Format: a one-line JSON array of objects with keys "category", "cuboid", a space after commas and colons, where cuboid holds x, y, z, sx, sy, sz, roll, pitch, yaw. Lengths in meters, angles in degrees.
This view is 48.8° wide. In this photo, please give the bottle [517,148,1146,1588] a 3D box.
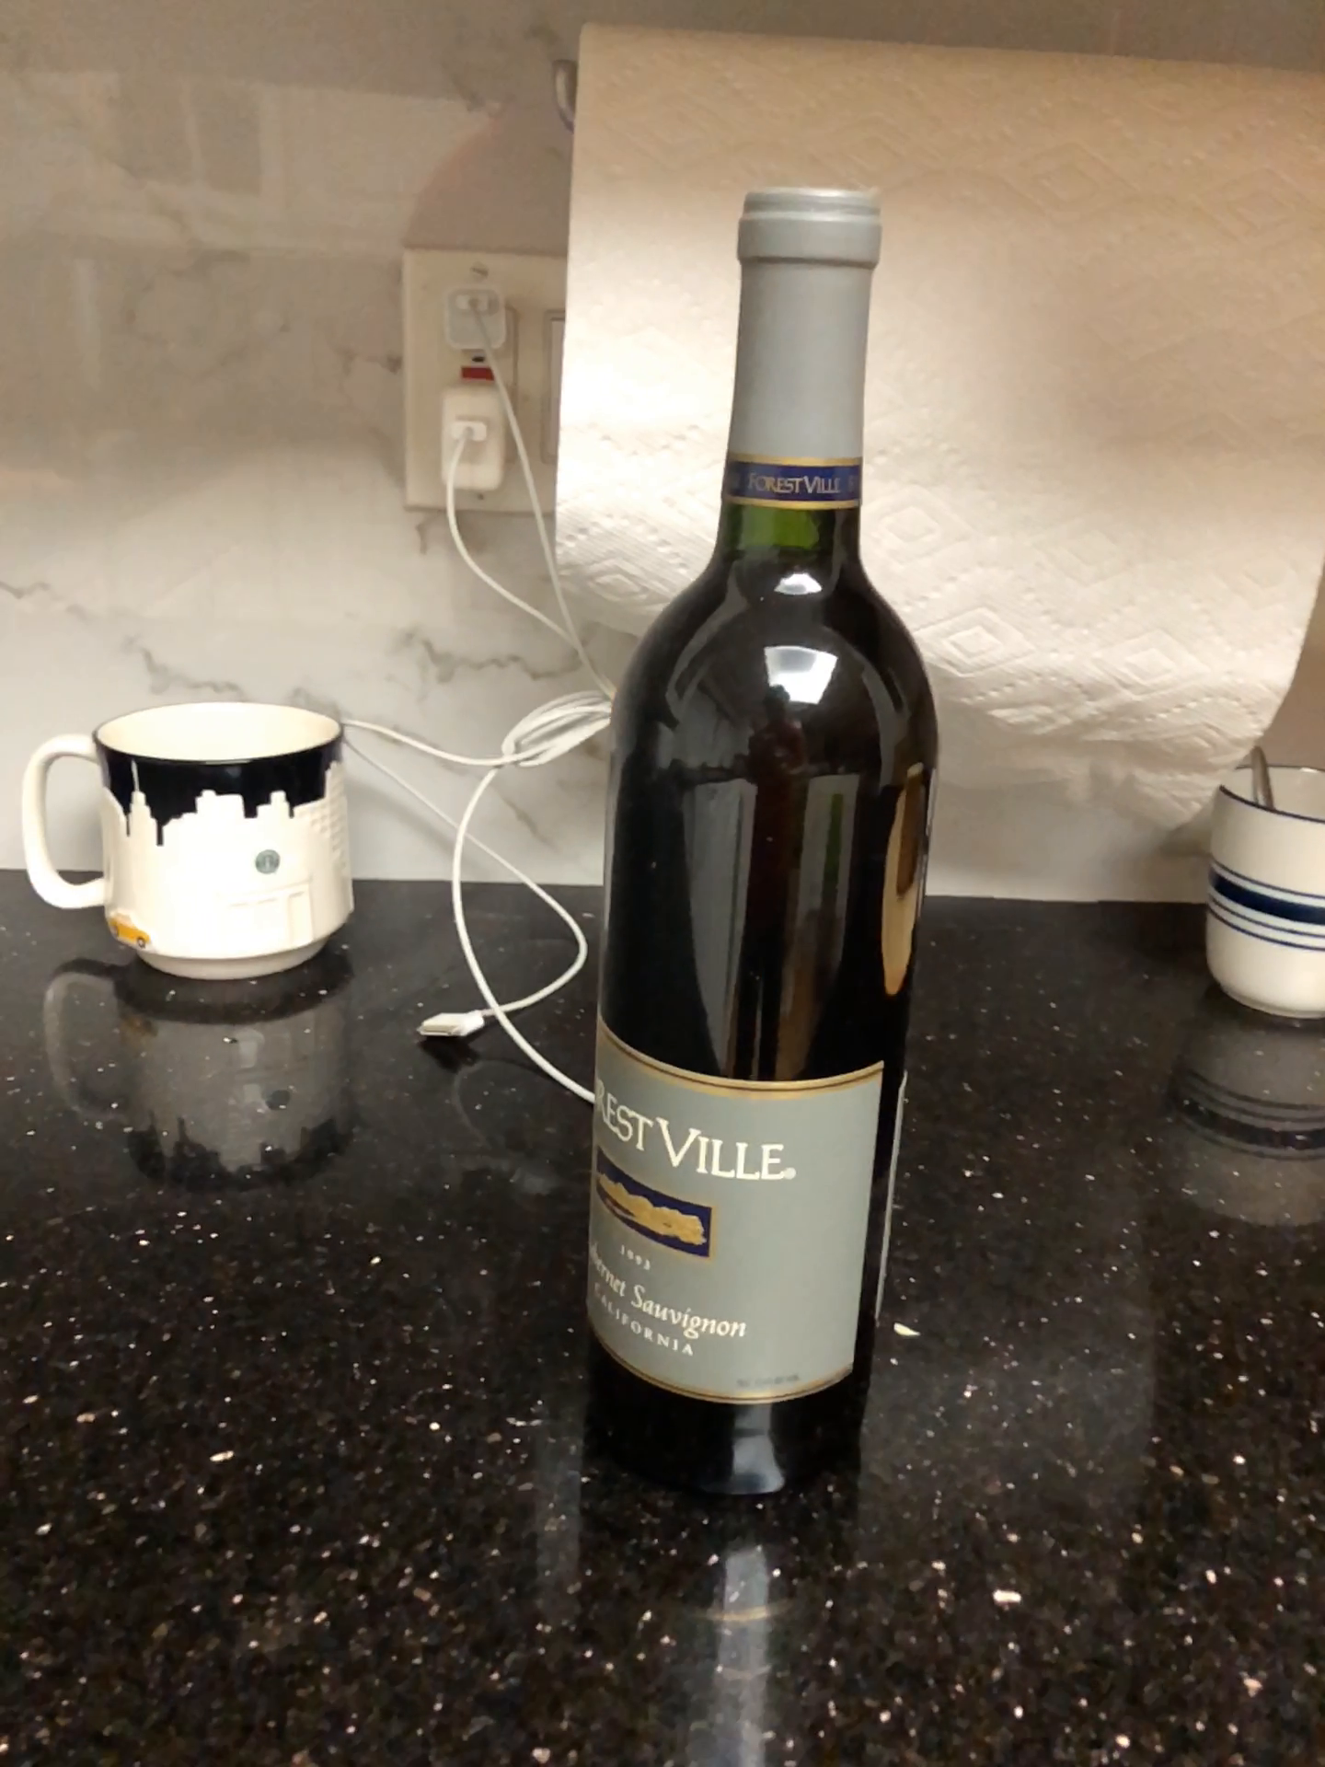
[{"category": "bottle", "cuboid": [0.029, 0.001, 0.341, 0.080, 0.299, 0.090, 22, 27, 40]}]
